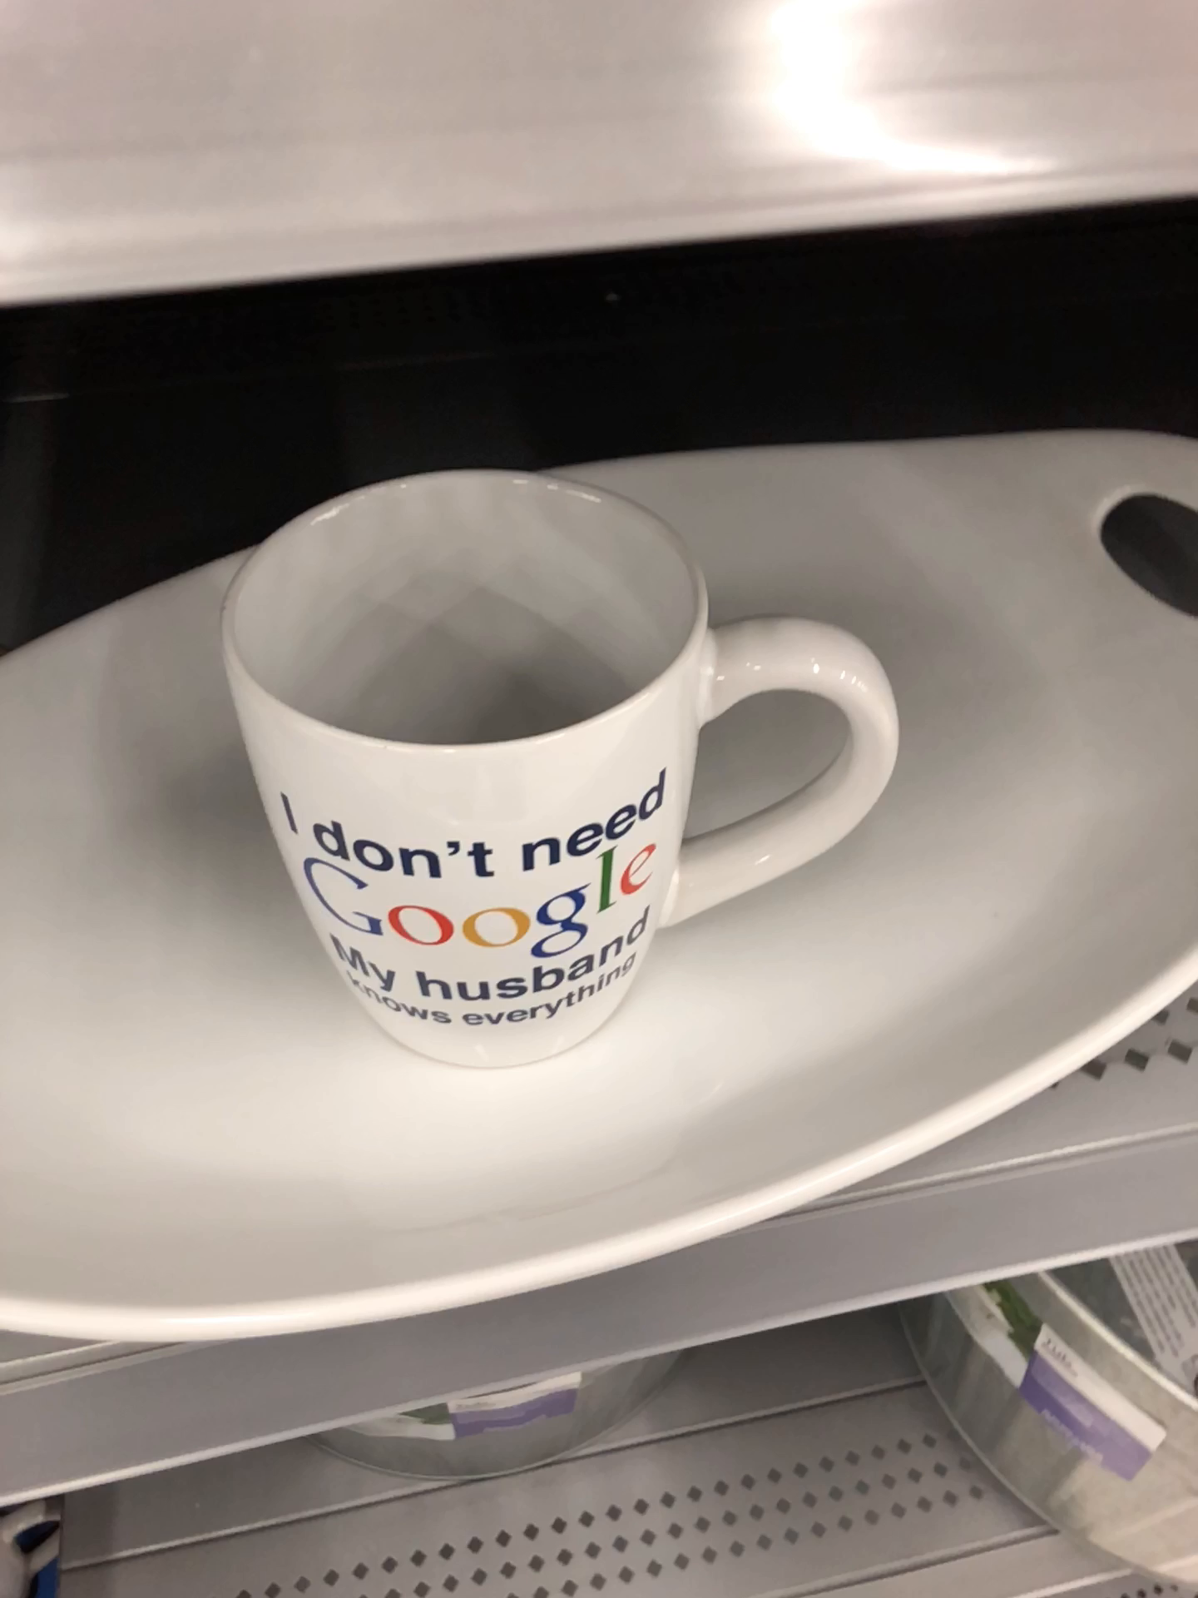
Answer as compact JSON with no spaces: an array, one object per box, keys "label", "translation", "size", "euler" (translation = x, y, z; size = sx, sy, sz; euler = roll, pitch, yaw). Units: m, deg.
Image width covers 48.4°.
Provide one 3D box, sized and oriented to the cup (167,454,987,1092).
[{"label":"cup","translation":[-0.007,-0.007,0.325],"size":[0.154,0.108,0.104],"euler":[-2,45,-3]}]
